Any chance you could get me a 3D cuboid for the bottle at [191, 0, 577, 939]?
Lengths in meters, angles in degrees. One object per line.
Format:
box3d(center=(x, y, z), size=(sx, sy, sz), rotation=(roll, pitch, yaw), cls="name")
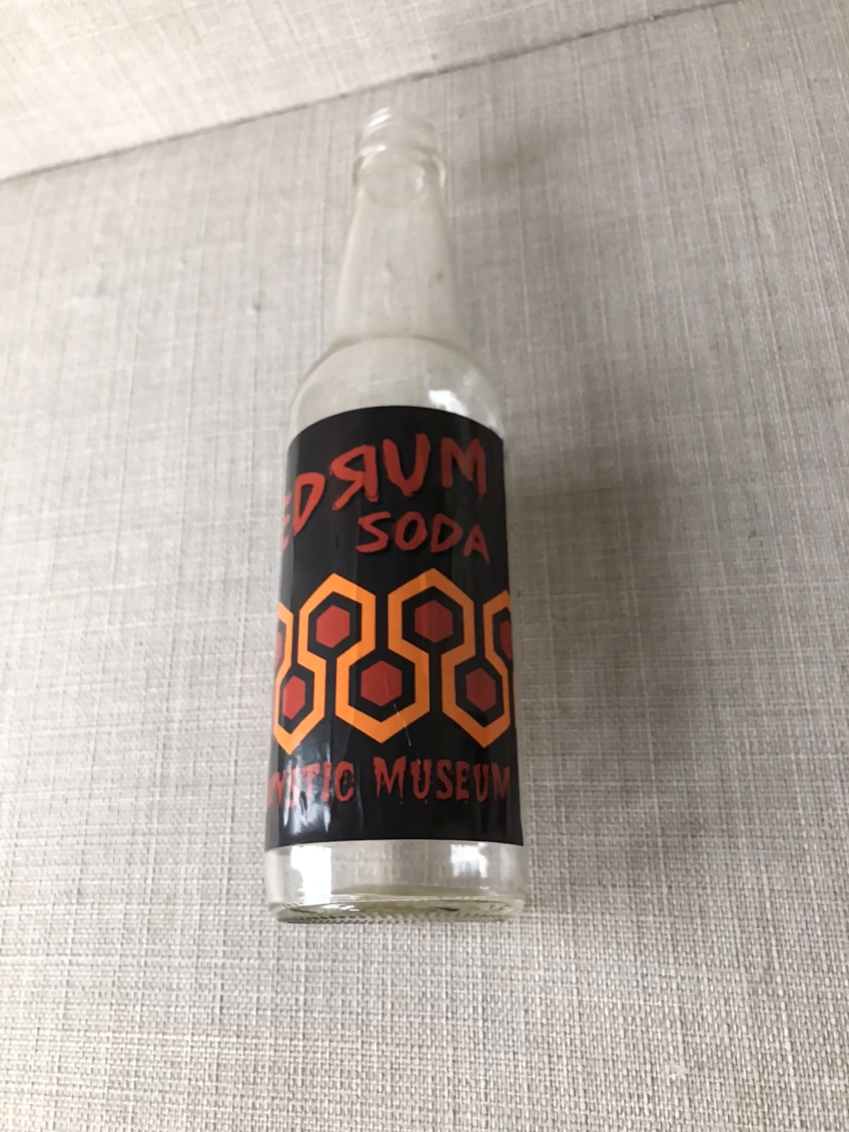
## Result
box3d(center=(-0.007, -0.029, 0.246), size=(0.063, 0.070, 0.231), rotation=(-8, 69, 17), cls="bottle")
